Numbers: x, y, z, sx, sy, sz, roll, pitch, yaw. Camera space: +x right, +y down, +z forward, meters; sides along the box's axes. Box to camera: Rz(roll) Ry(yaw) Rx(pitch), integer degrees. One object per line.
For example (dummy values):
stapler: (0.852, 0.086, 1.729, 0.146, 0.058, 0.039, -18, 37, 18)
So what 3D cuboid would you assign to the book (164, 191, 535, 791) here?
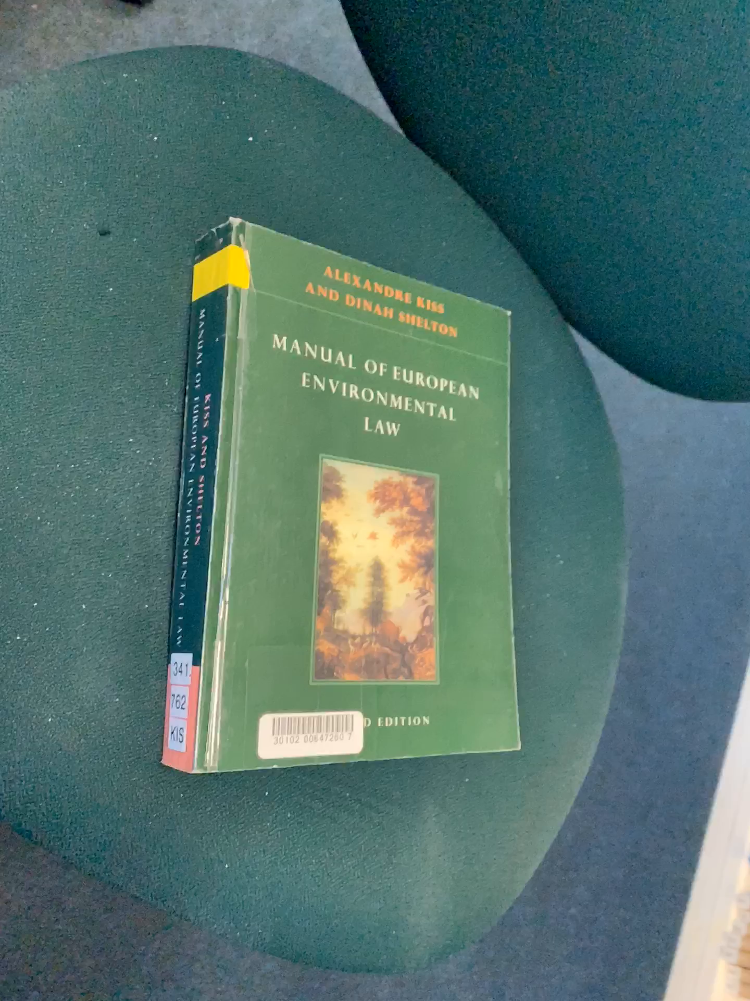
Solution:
book: (-0.001, 0.000, 0.384, 0.181, 0.040, 0.250, 8, 78, -34)
